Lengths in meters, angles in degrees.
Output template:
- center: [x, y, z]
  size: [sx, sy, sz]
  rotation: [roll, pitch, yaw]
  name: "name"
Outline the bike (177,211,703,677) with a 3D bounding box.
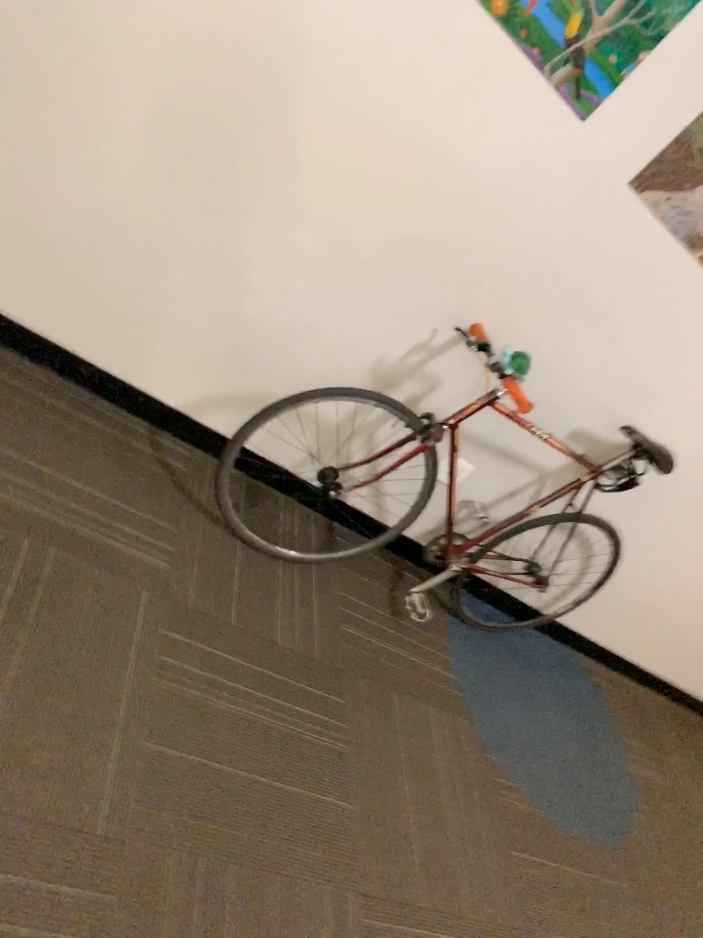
- center: [0.393, 0.083, 2.353]
  size: [1.624, 0.911, 0.451]
  rotation: [27, 33, -34]
  name: "bike"
